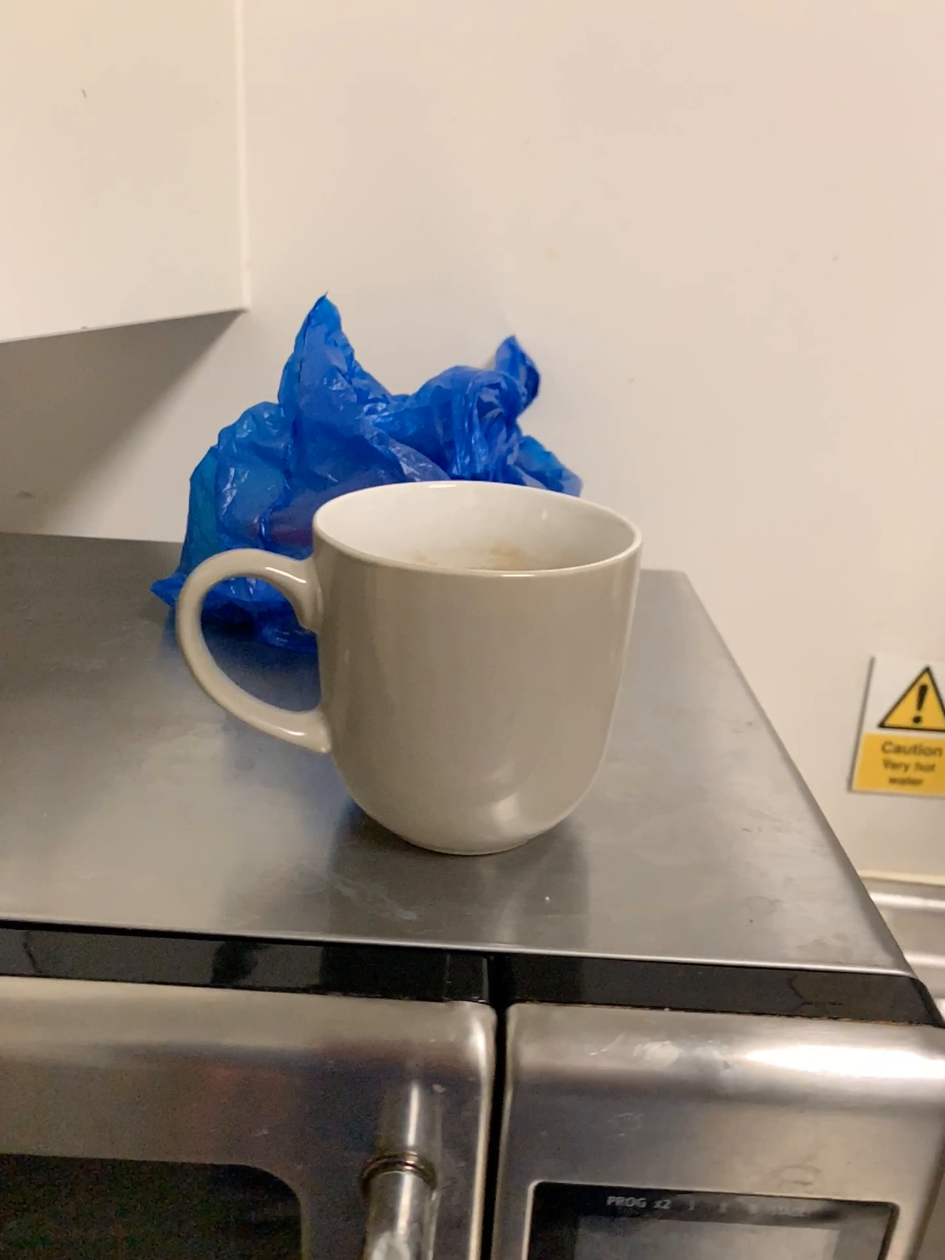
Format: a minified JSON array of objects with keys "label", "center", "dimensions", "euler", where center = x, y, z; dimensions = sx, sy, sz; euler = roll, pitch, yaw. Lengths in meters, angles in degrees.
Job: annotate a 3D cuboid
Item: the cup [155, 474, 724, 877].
[{"label":"cup","center":[-0.008,0.007,0.279],"dimensions":[0.129,0.077,0.094],"euler":[2,22,1]}]
